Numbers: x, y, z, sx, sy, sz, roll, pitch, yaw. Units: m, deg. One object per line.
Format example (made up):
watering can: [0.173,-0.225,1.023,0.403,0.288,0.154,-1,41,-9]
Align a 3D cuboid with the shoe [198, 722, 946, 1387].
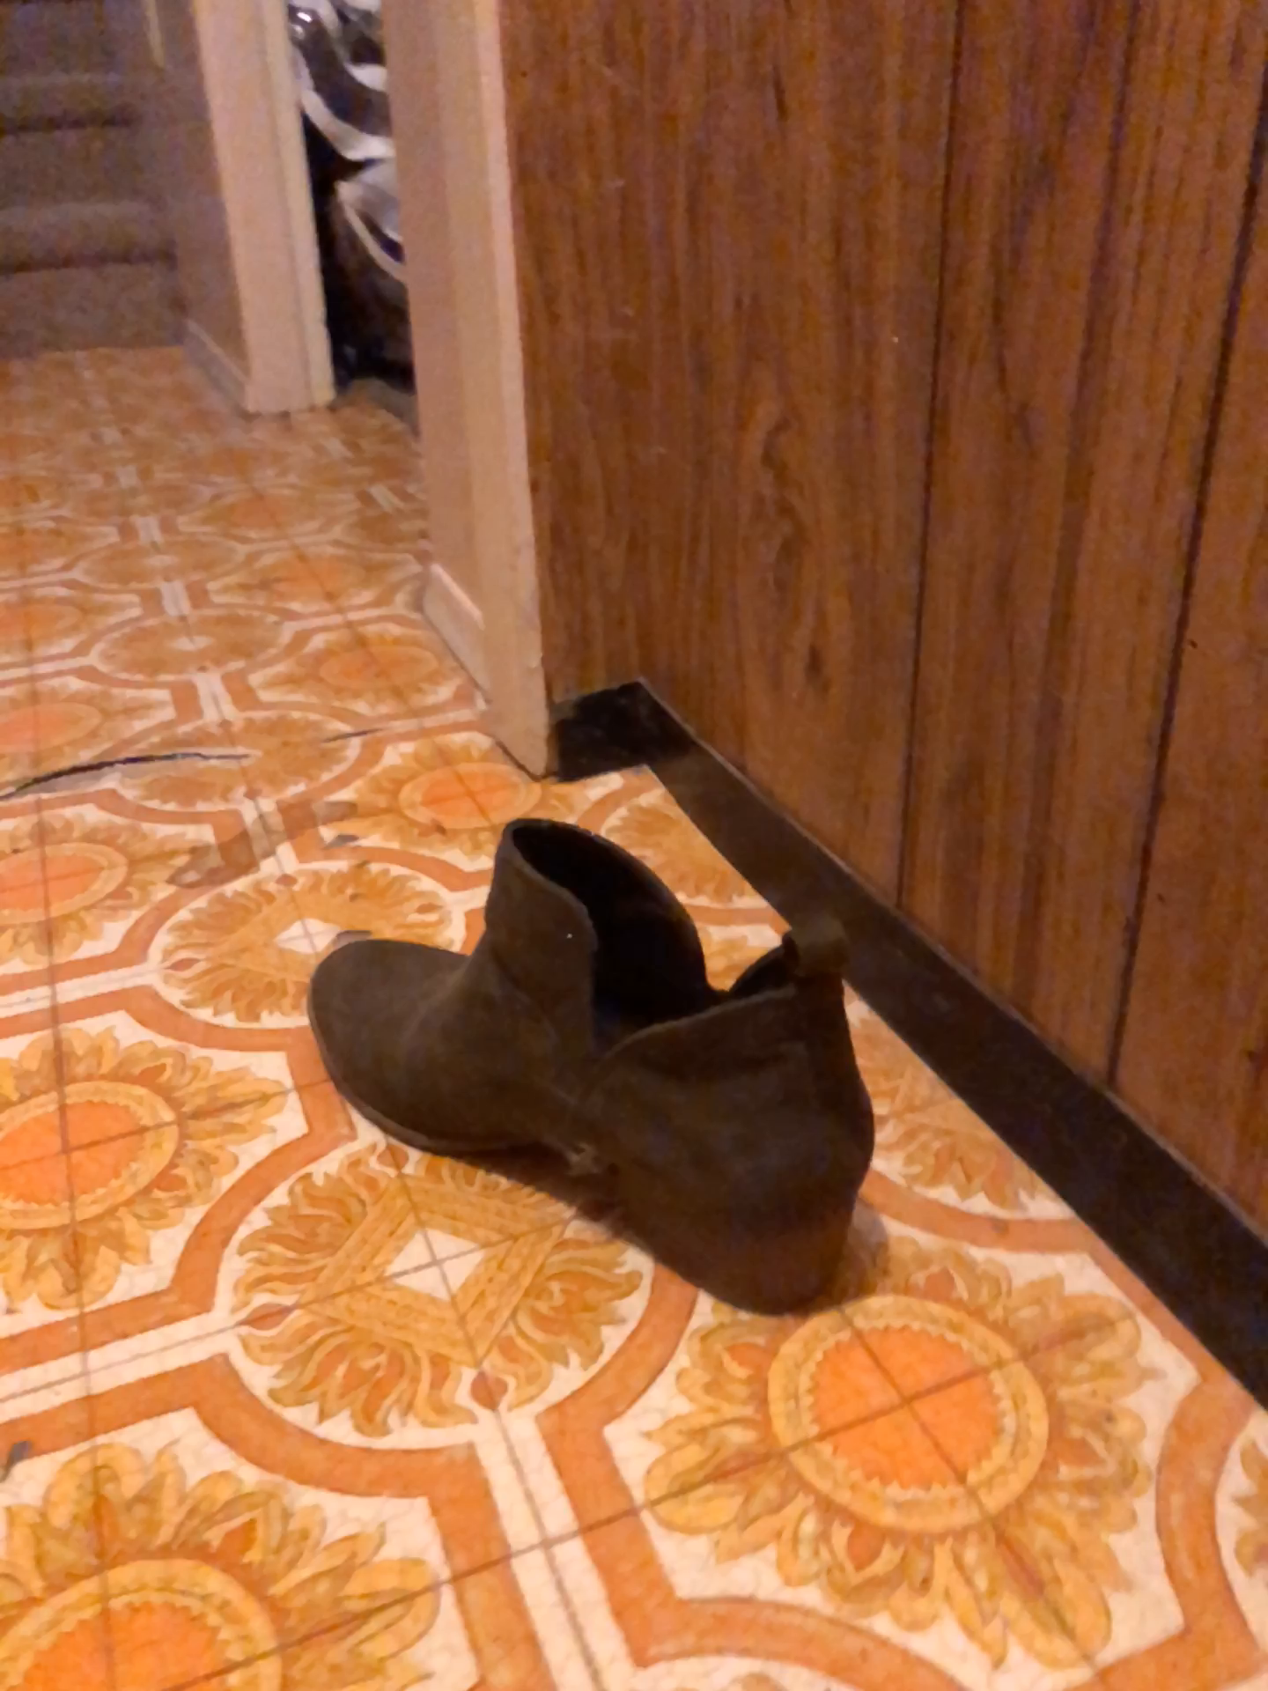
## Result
shoe: [-0.031,0.058,0.499,0.260,0.130,0.080,19,35,34]
